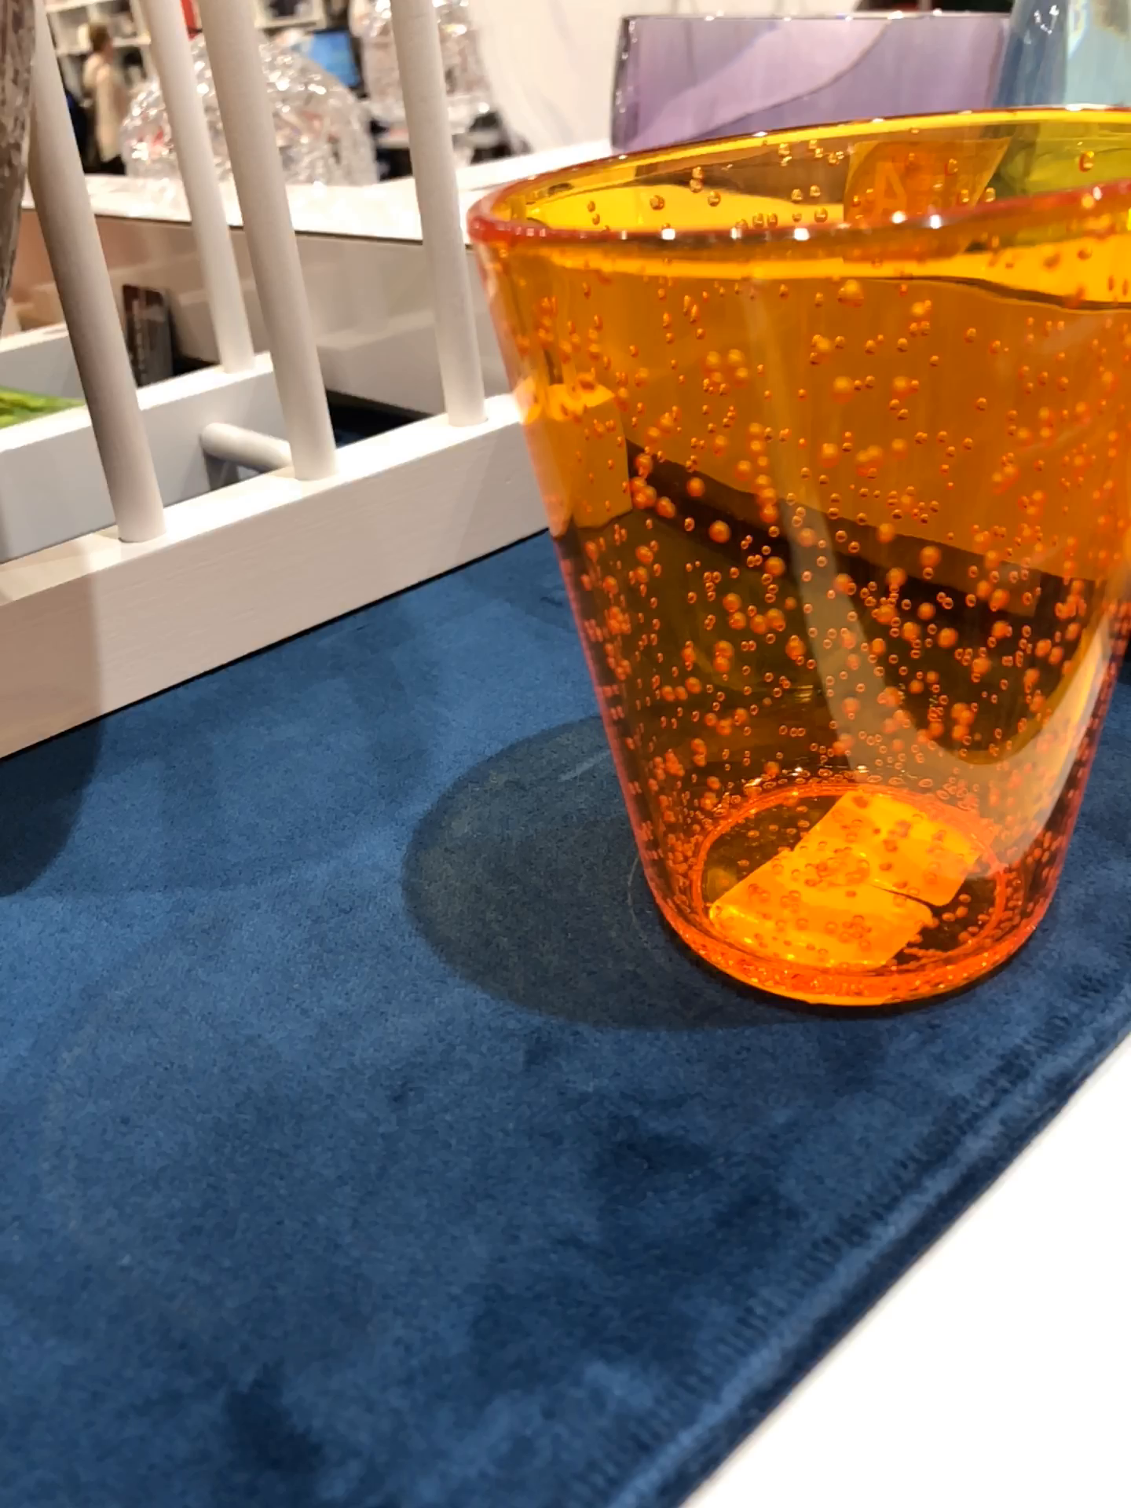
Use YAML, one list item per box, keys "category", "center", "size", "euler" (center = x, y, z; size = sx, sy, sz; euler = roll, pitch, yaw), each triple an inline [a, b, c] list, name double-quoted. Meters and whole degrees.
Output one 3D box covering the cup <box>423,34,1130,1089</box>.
- category: "cup"
  center: [0.042, -0.031, 0.154]
  size: [0.070, 0.090, 0.080]
  euler: [16, 36, 33]
